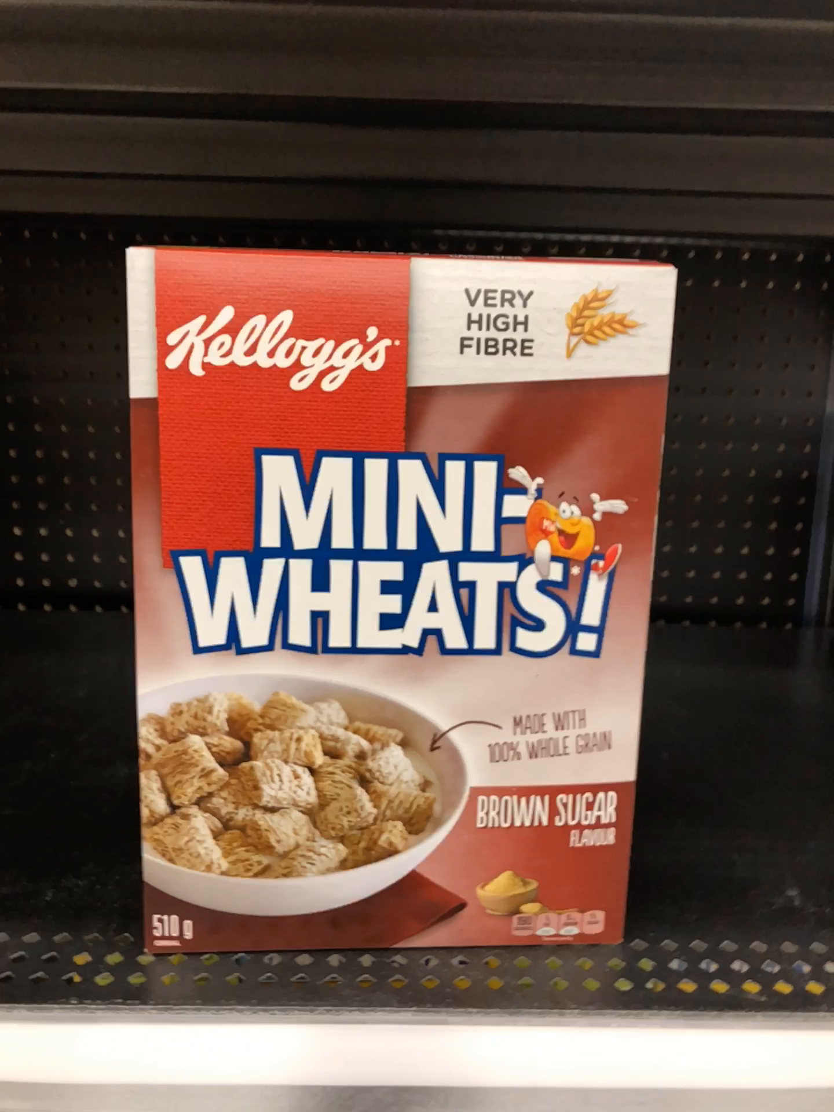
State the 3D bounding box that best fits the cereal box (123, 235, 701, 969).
[{"bbox_3d":[-0.005,0.023,0.376,0.200,0.279,0.060,1,11,-4],"label":"cereal box"}]
